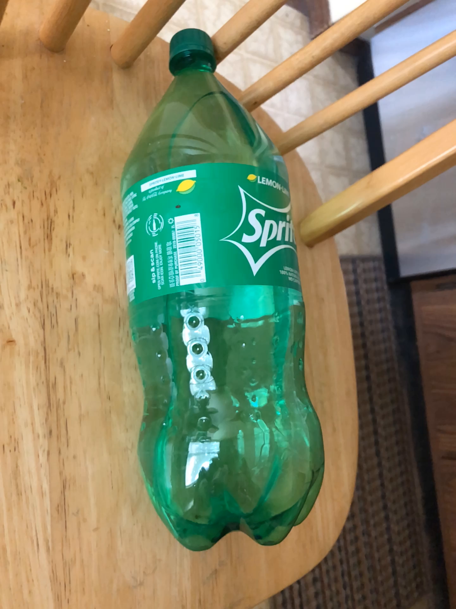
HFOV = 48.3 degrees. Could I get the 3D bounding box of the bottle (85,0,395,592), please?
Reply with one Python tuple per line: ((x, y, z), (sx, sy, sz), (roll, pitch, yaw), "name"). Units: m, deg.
((0.003, -0.022, 0.299), (0.111, 0.110, 0.300), (6, 76, -52), "bottle")
